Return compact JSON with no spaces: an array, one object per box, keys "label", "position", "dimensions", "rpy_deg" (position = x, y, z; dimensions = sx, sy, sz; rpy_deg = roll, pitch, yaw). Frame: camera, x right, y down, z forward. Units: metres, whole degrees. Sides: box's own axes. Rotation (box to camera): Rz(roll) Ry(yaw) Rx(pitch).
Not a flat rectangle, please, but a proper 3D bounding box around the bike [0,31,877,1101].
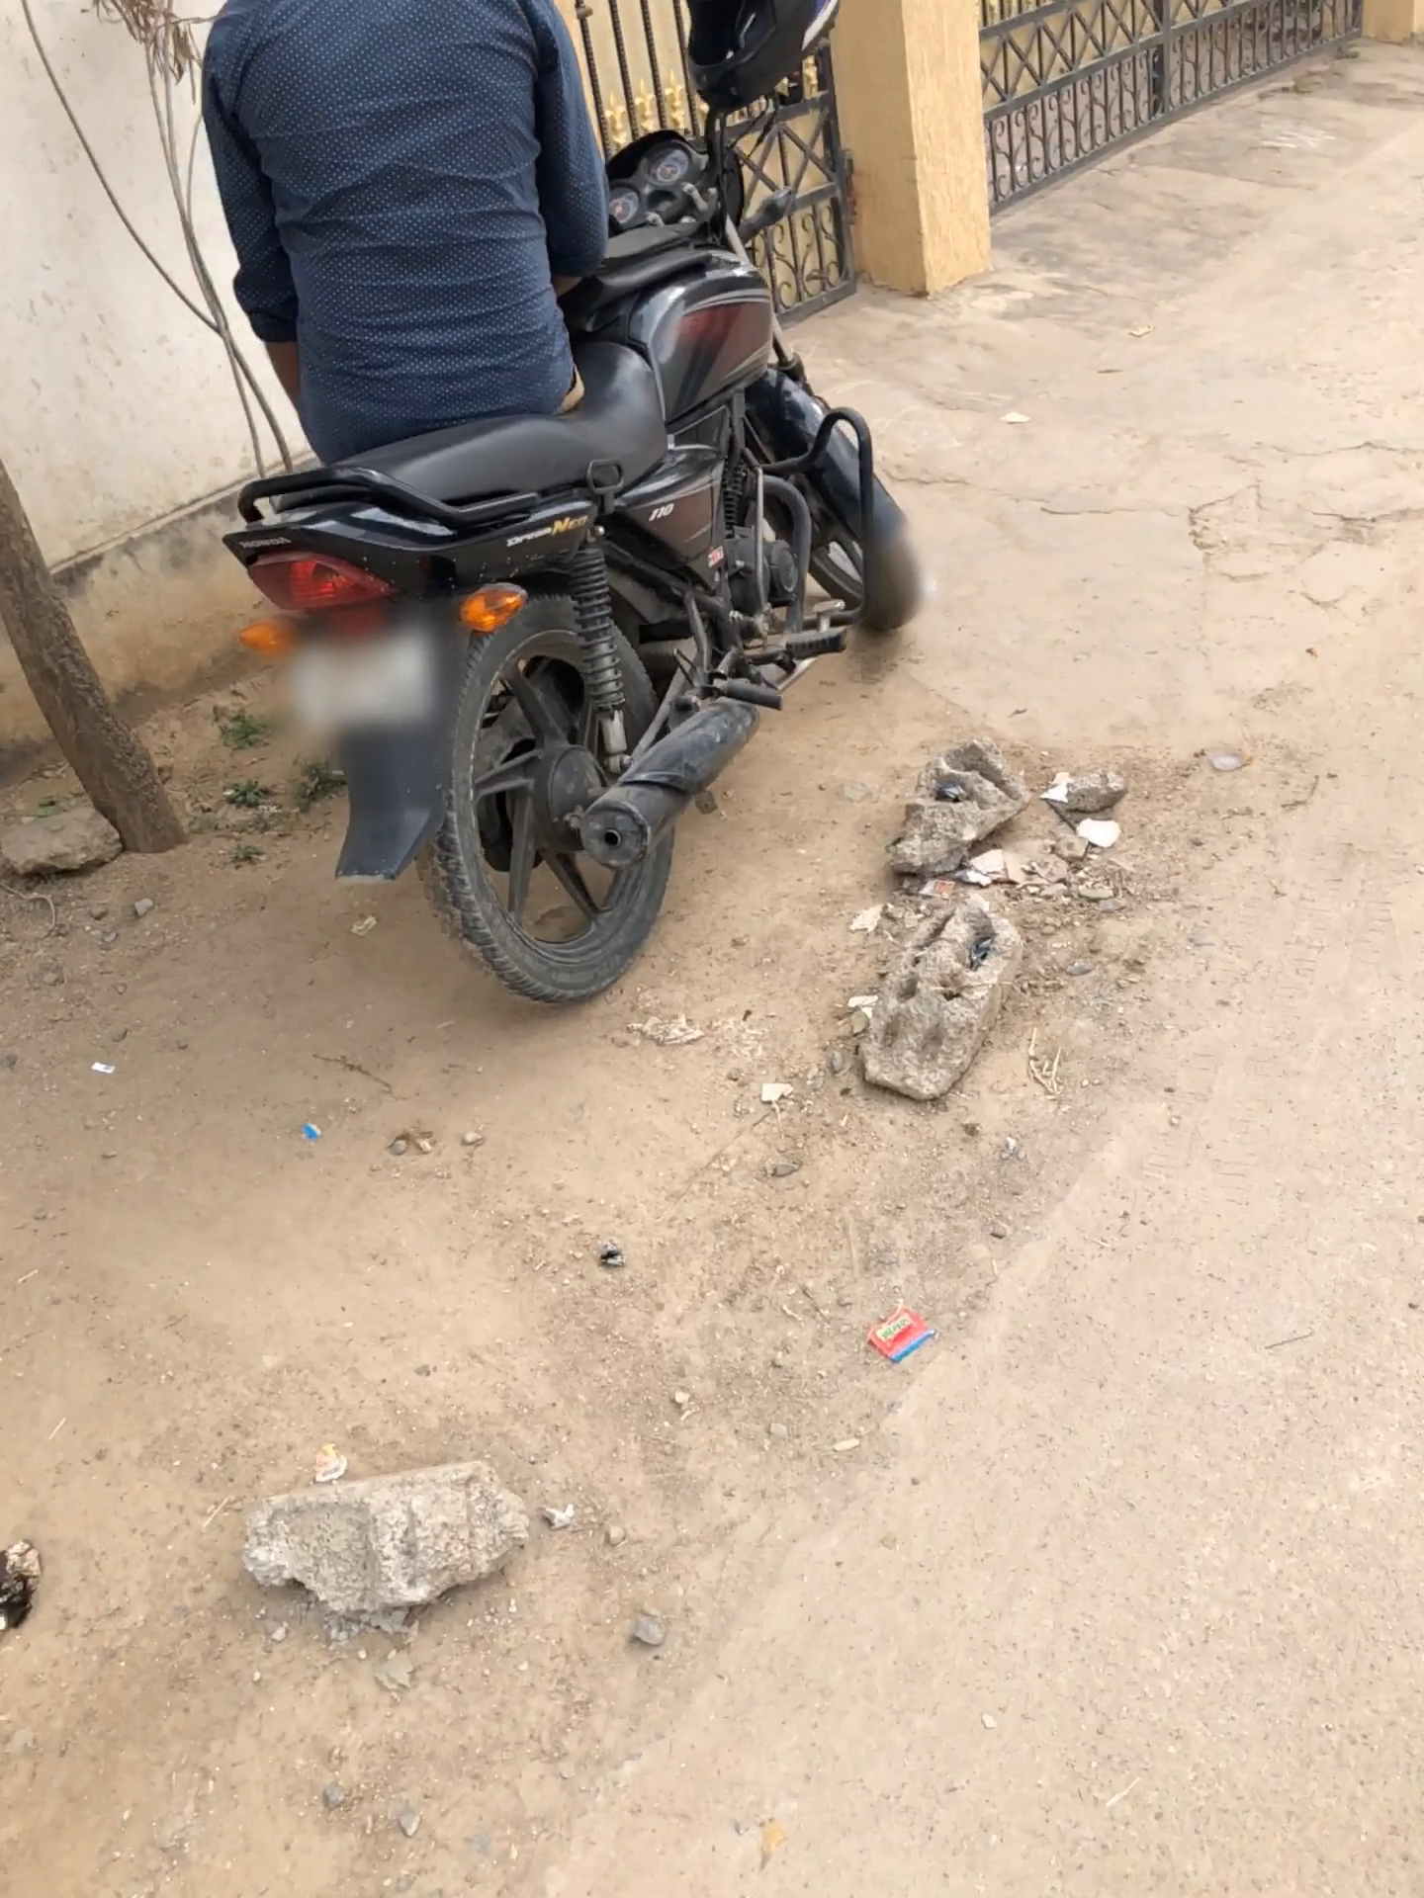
[{"label":"bike","position":[-0.254,-0.742,2.541],"dimensions":[0.720,1.070,1.675],"rpy_deg":[1,35,17]}]
